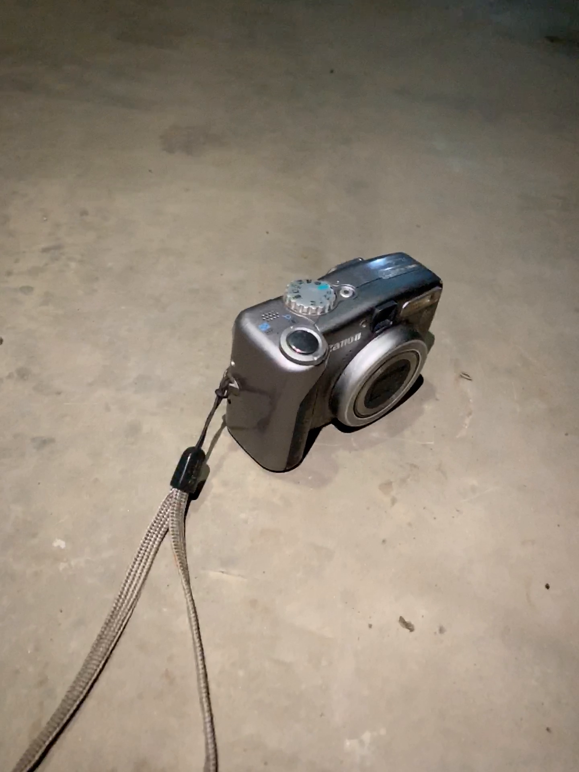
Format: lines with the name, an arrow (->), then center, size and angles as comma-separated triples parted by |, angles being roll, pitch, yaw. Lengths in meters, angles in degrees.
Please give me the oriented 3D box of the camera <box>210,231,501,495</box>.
camera -> 0.027, -0.014, 0.250 | 0.109, 0.059, 0.048 | -26, 54, -32
